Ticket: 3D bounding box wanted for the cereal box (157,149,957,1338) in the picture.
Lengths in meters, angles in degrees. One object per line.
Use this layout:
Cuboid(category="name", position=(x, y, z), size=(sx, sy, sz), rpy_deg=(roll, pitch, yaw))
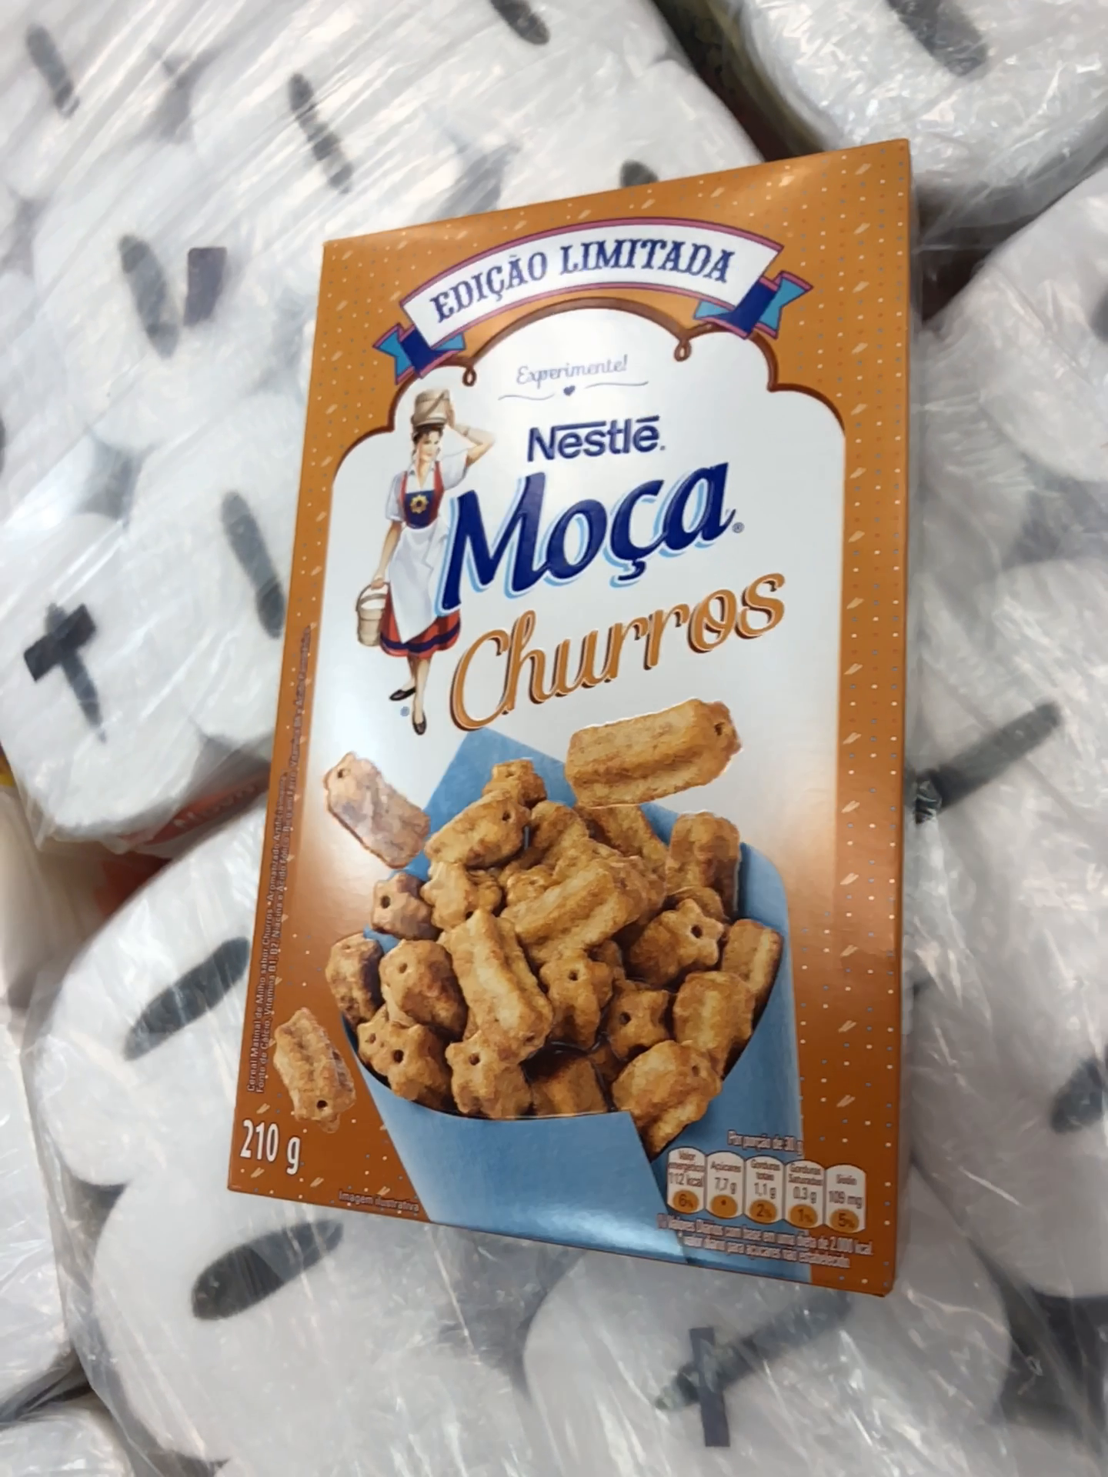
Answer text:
Cuboid(category="cereal box", position=(0.005, -0.005, 0.298), size=(0.170, 0.050, 0.240), rpy_deg=(0, 79, 21))
